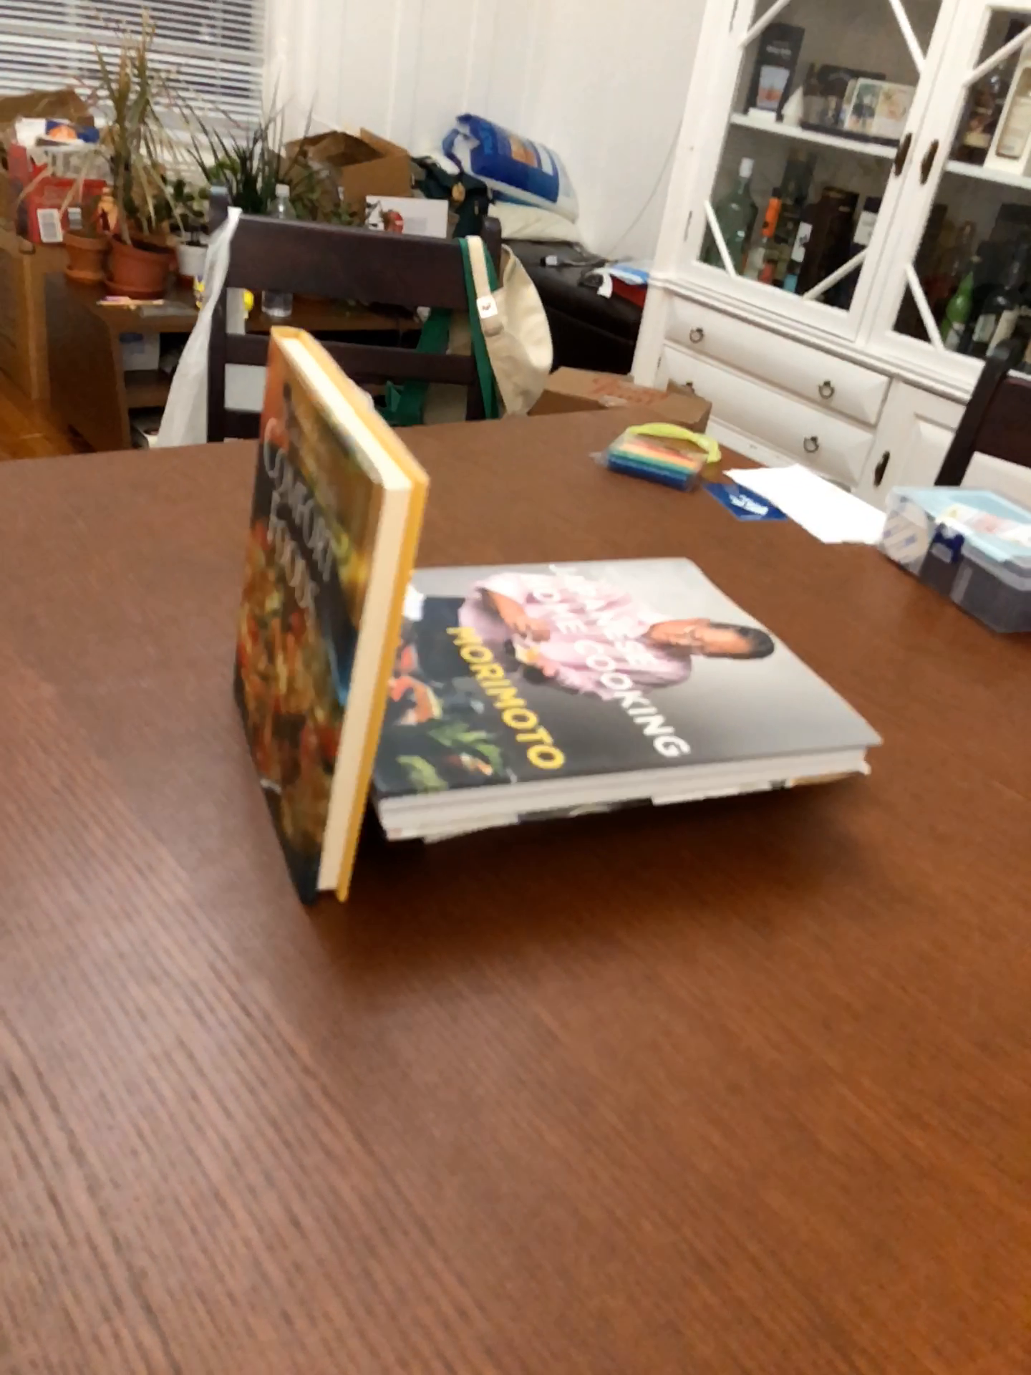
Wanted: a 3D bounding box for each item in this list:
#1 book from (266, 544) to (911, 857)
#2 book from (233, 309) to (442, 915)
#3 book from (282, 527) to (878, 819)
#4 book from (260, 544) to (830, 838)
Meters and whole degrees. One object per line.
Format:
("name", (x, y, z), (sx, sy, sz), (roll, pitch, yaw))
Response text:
("book", (0.029, -0.012, 0.606), (0.280, 0.030, 0.221), (-6, 33, -23))
("book", (-0.097, -0.044, 0.534), (0.030, 0.209, 0.211), (-1, 33, -23))
("book", (0.032, -0.027, 0.664), (0.281, 0.030, 0.221), (-9, 35, -28))
("book", (0.014, -0.016, 0.696), (0.281, 0.030, 0.221), (-11, 36, -30))
